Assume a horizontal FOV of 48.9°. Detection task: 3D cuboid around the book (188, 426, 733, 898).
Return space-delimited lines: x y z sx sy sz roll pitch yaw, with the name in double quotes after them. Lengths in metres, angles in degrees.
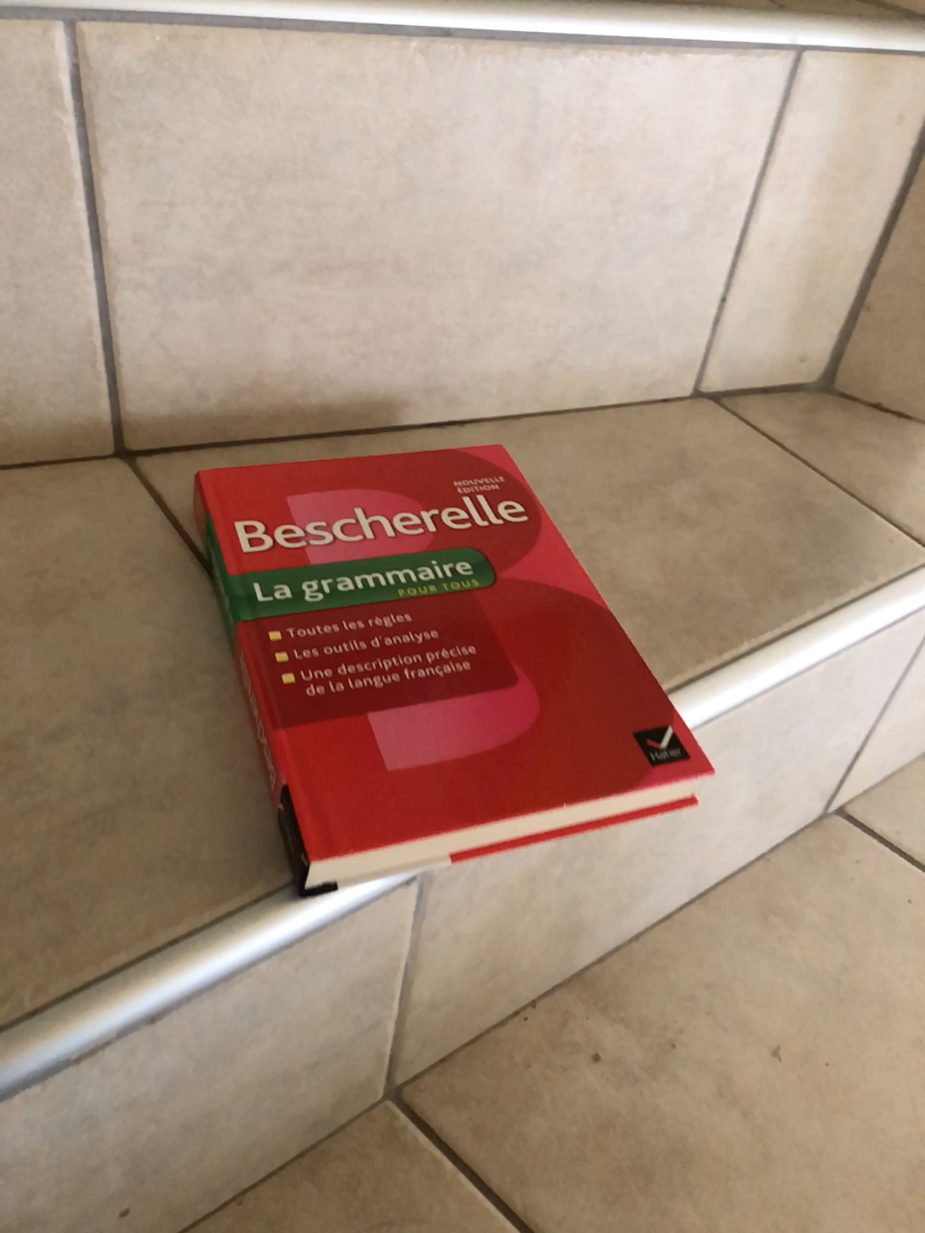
-0.013 -0.003 0.381 0.143 0.020 0.202 -8 45 -19 "book"
